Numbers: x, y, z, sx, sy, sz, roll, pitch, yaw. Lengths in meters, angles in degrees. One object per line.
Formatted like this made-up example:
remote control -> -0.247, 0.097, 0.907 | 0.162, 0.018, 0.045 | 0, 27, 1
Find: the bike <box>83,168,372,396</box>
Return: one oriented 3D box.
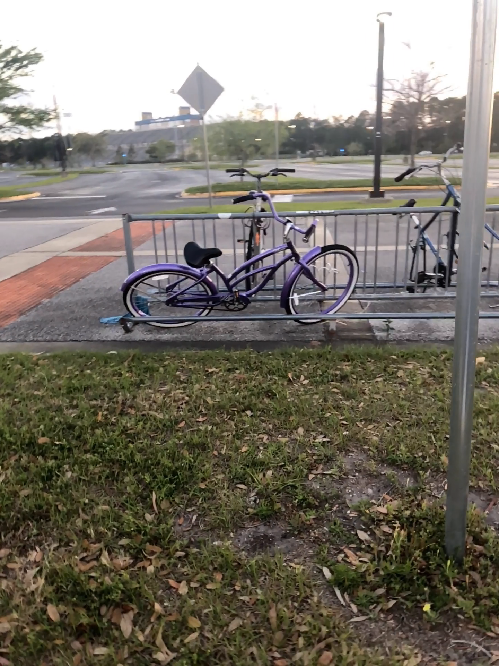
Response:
bike -> -0.066, -0.418, 3.729 | 1.699, 1.117, 0.853 | -7, 17, -4
